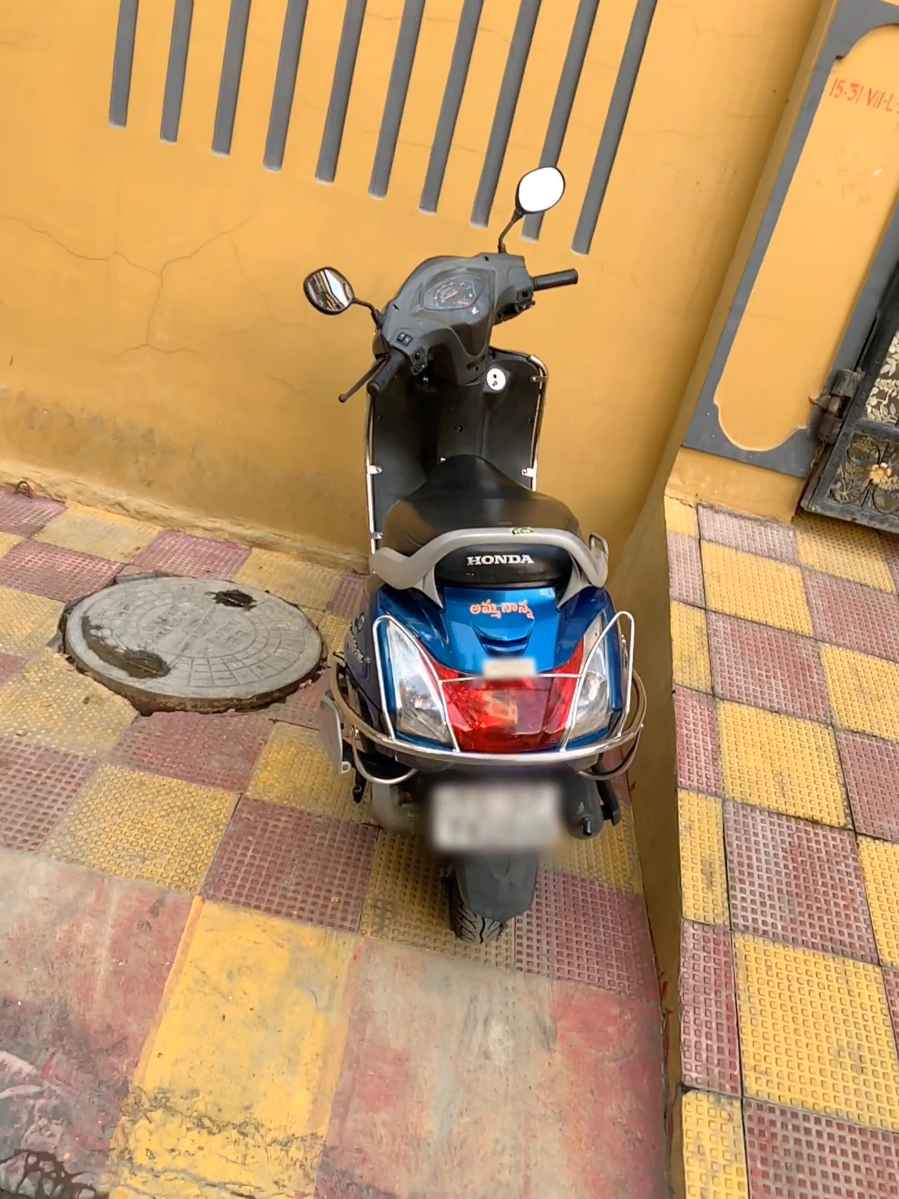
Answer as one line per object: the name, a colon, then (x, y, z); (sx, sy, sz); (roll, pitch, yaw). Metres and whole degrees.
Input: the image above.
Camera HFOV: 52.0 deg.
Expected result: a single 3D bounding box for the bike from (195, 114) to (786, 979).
bike: (-0.099, -0.298, 1.996); (0.596, 1.098, 1.534); (10, 27, -14)
